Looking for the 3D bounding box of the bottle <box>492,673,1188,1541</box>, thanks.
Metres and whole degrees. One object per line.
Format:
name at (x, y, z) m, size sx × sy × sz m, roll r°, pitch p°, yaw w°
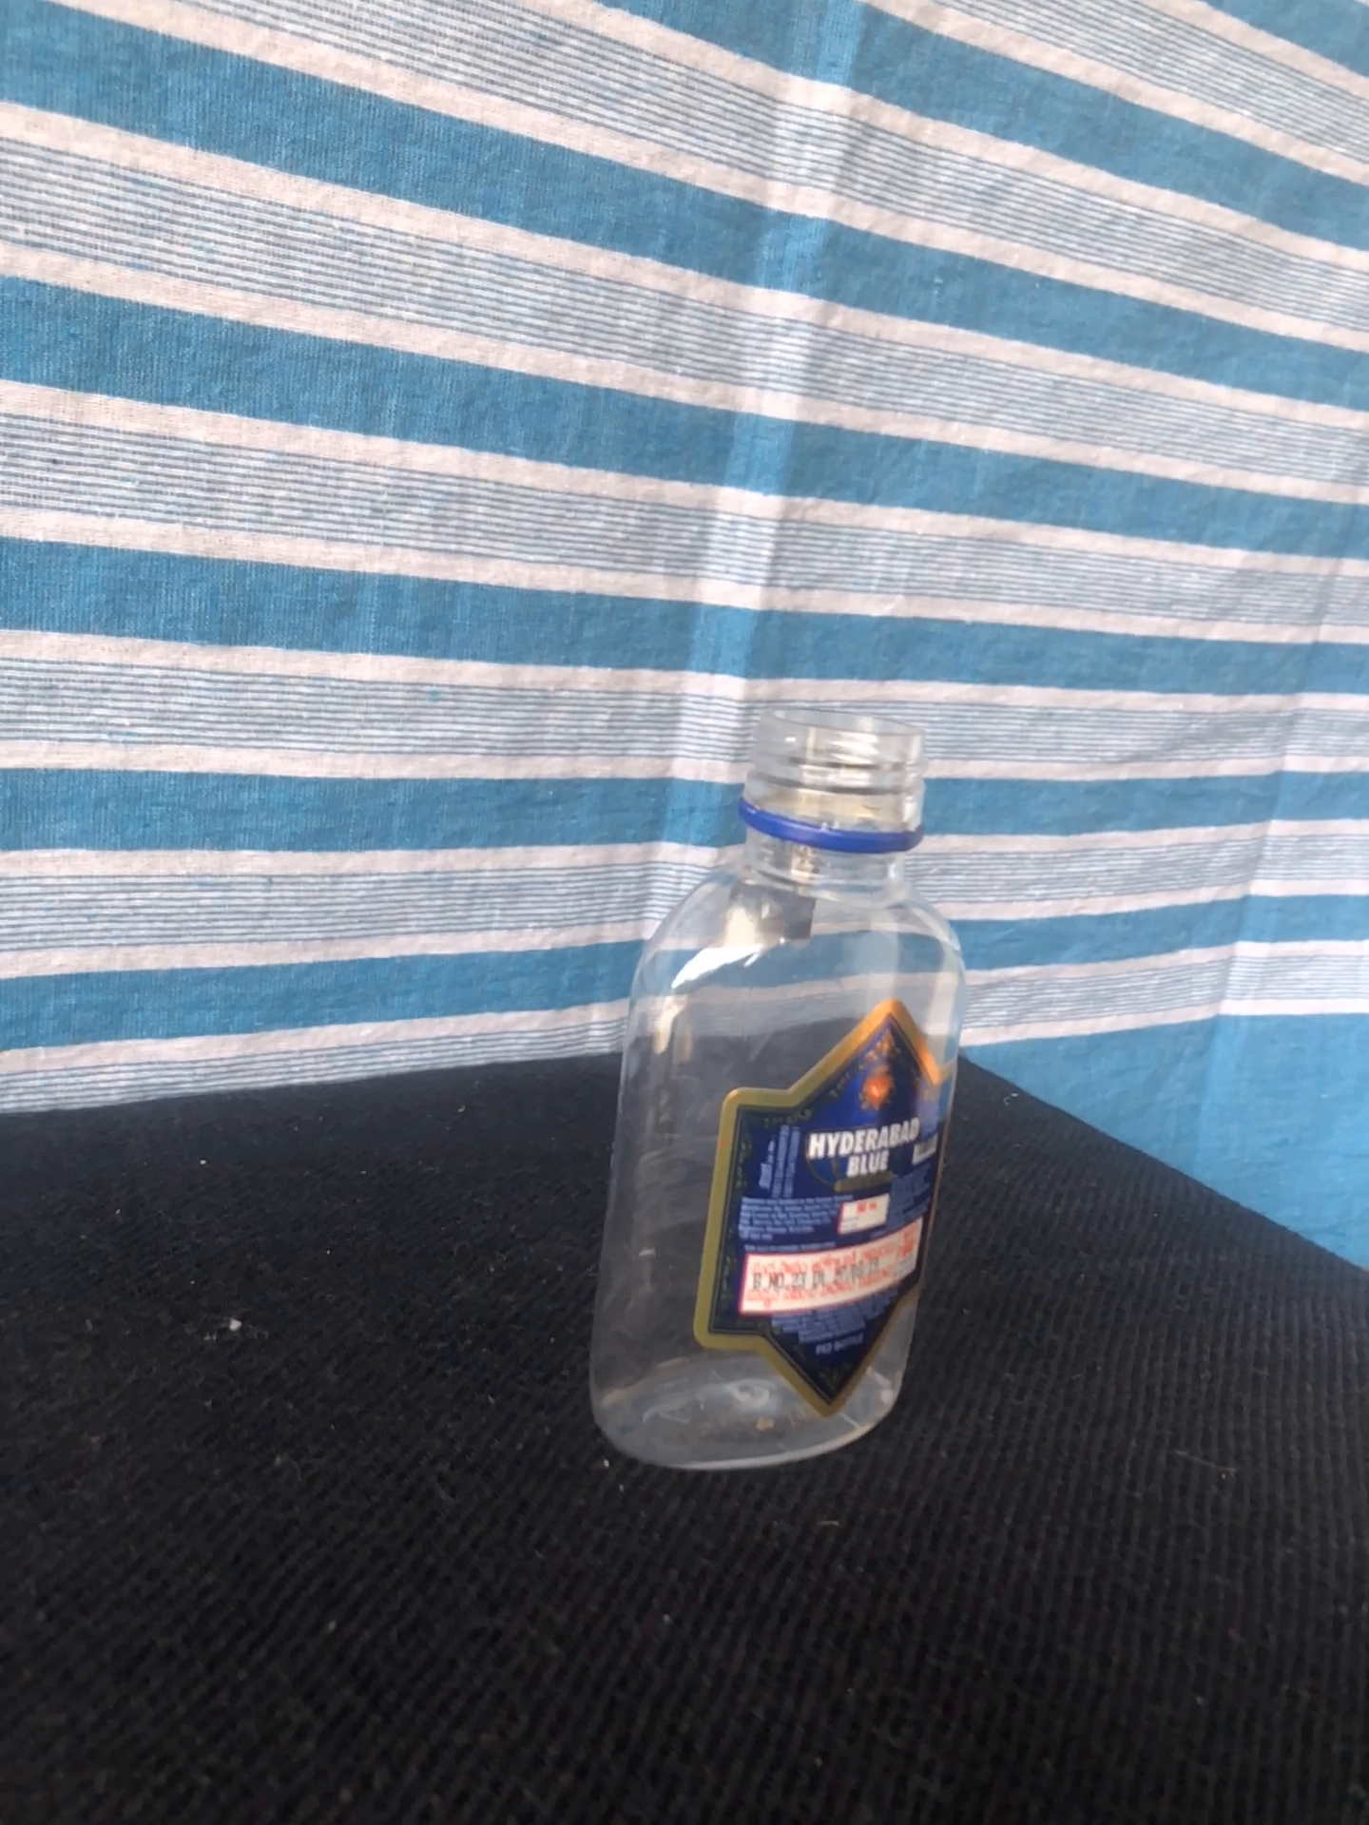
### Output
bottle at (0.018, 0.023, 0.215) m, size 0.060 × 0.100 × 0.050 m, roll 0°, pitch 19°, yaw -35°
